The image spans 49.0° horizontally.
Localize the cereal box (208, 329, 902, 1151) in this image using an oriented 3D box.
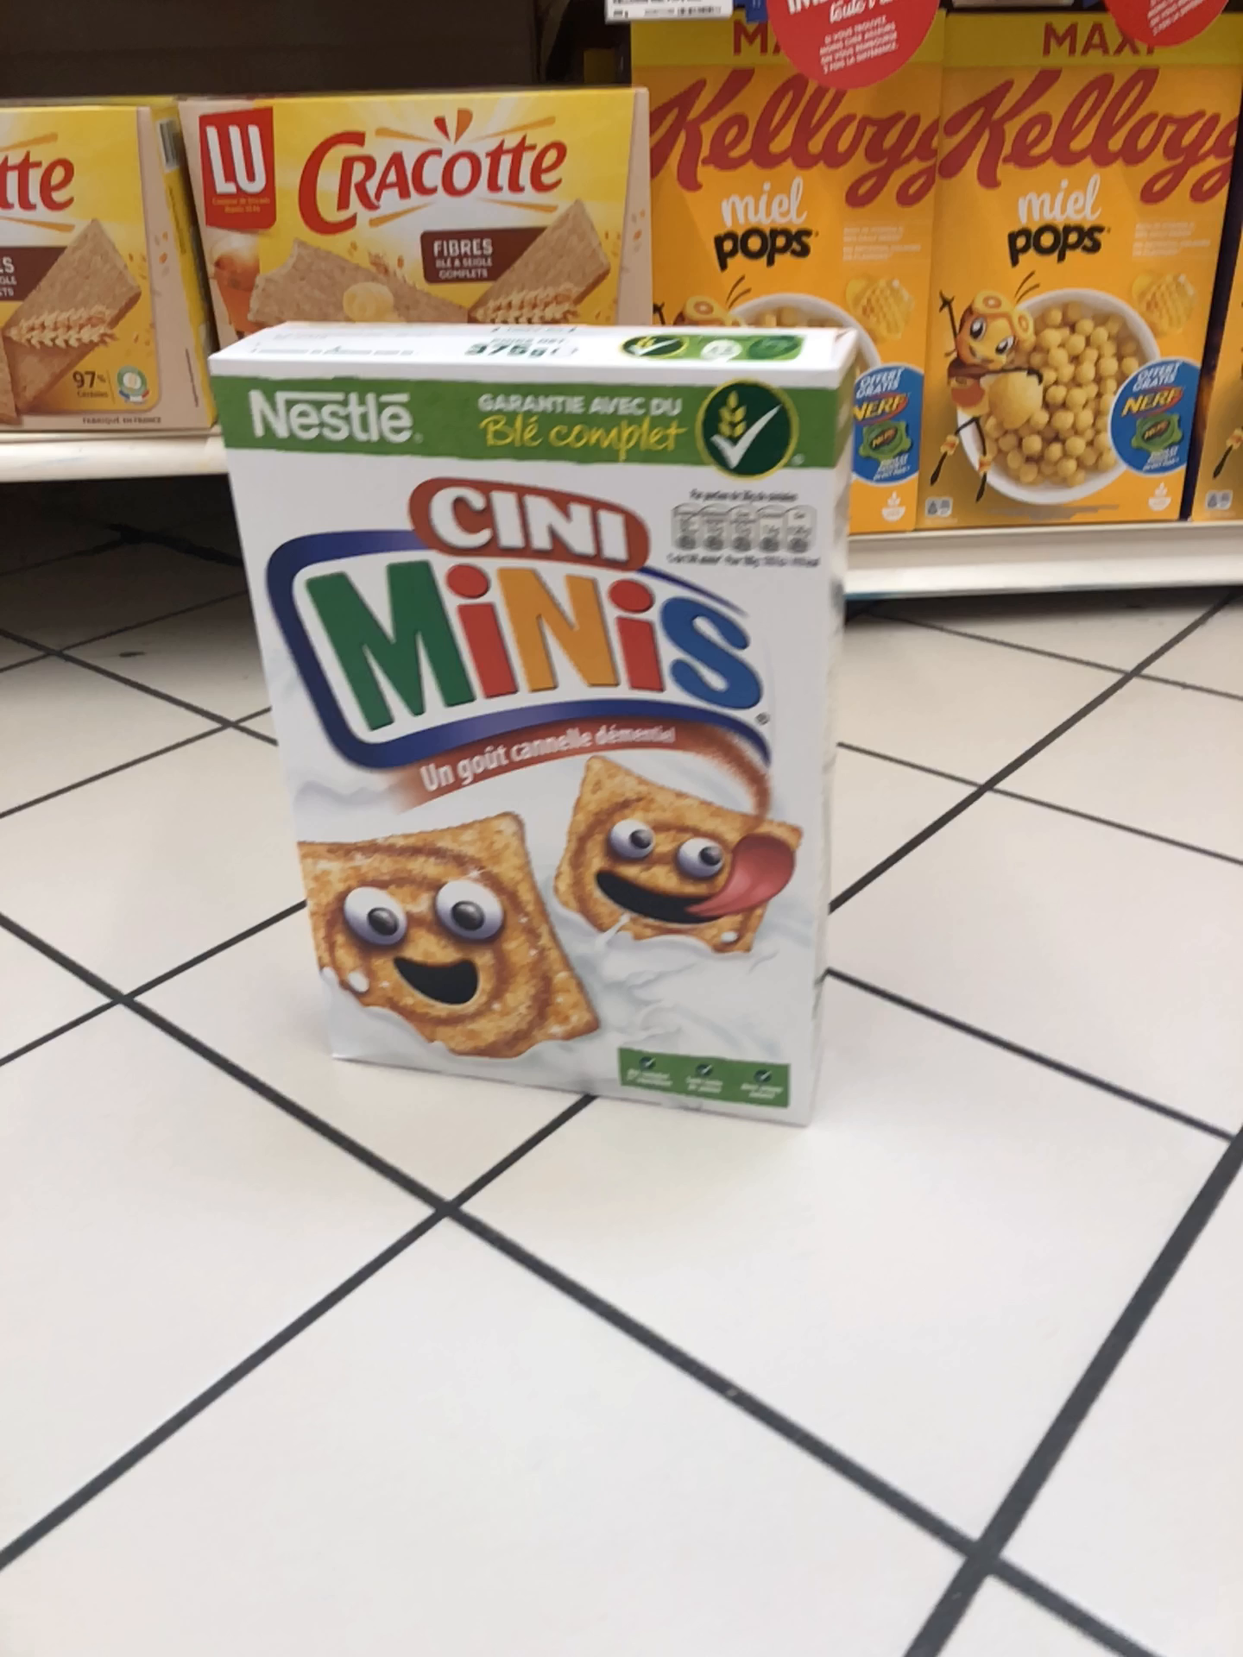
[{"bbox_3d":[-0.014,-0.027,0.478,0.200,0.268,0.070,5,28,12],"label":"cereal box"}]
